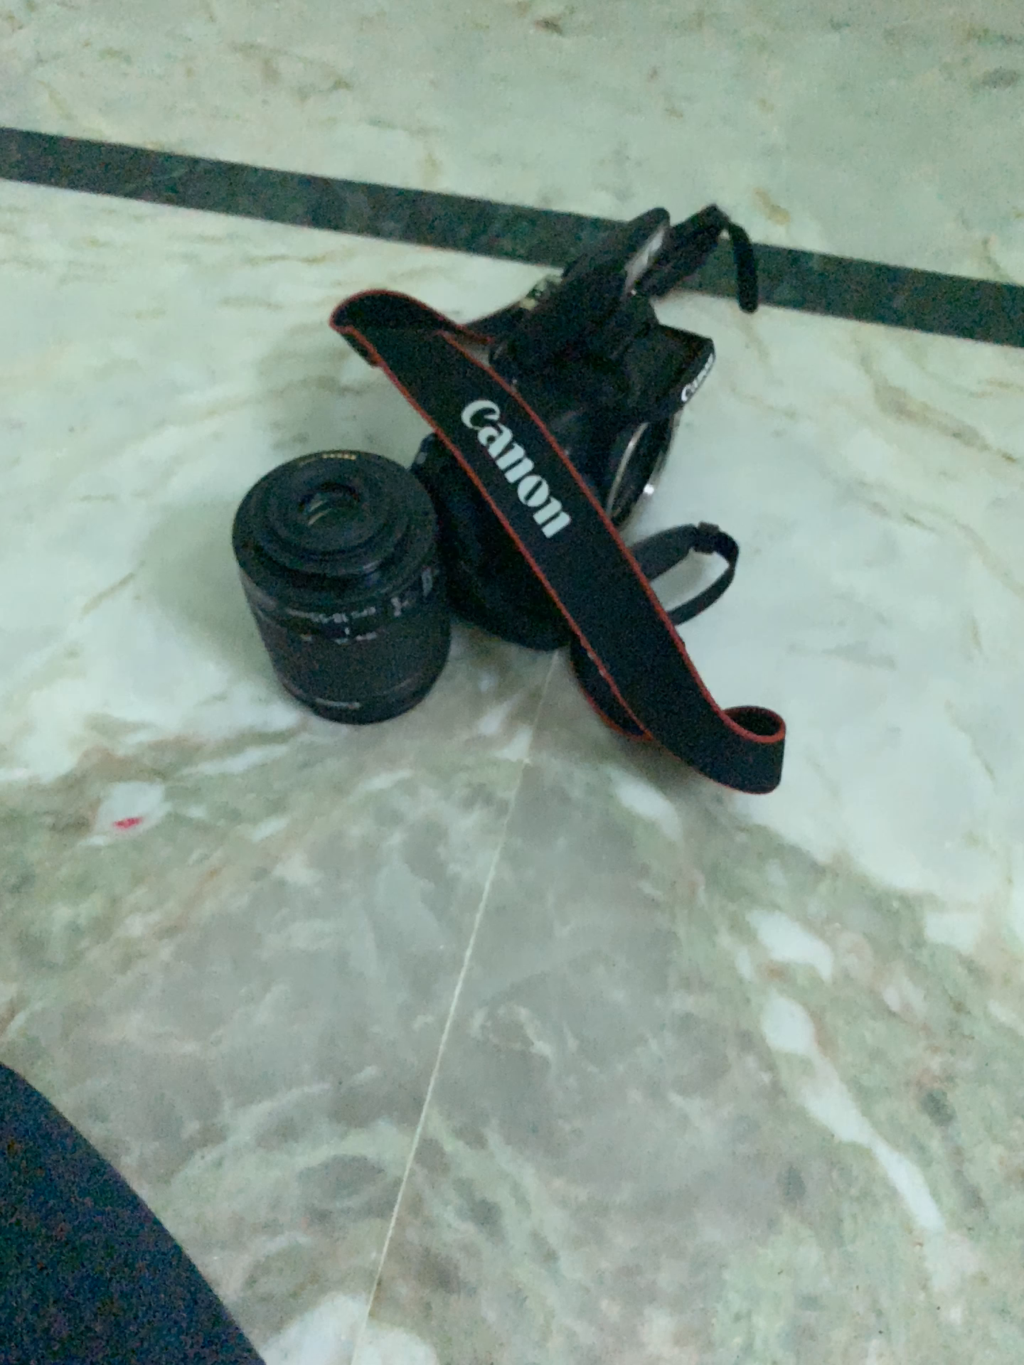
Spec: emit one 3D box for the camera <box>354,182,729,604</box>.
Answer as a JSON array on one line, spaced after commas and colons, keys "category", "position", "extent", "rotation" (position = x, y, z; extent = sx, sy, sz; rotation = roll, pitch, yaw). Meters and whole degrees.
[{"category": "camera", "position": [0.013, -0.107, 0.390], "extent": [0.082, 0.078, 0.112], "rotation": [26, 61, 16]}]
